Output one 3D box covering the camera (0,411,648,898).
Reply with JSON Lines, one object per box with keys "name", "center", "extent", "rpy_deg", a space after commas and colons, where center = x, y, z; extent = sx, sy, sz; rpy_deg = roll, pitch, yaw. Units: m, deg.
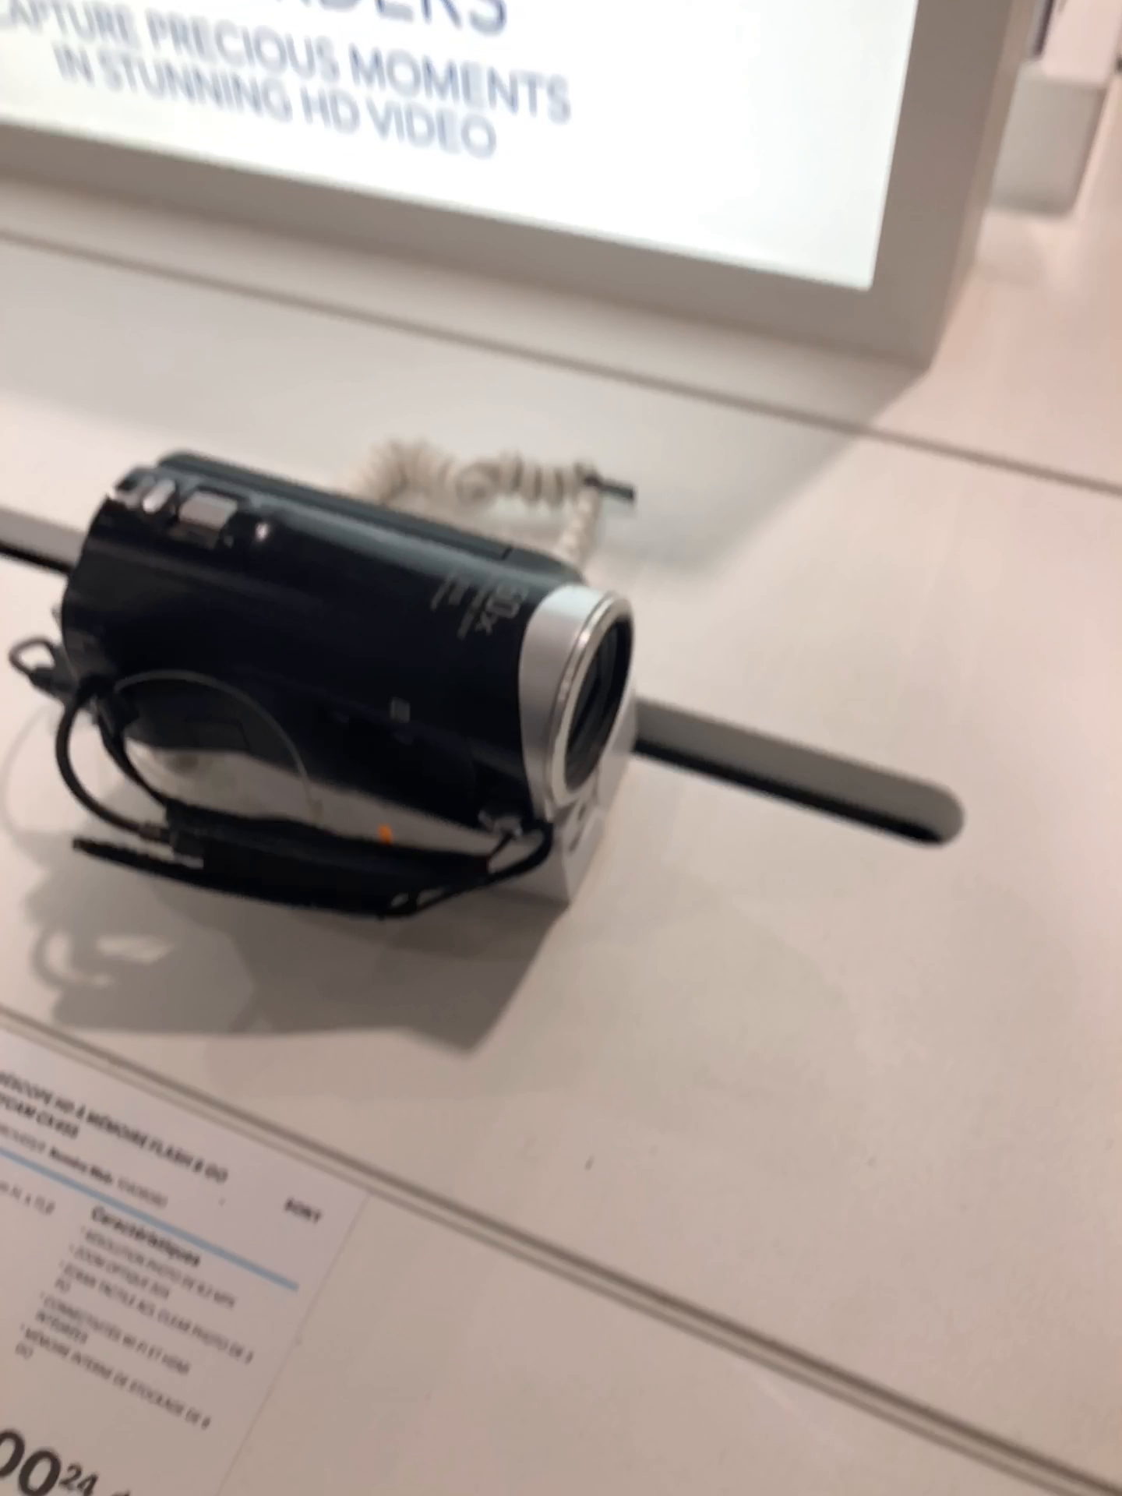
{"name": "camera", "center": [-0.047, -0.023, 0.282], "extent": [0.121, 0.058, 0.057], "rpy_deg": [16, 55, 15]}
